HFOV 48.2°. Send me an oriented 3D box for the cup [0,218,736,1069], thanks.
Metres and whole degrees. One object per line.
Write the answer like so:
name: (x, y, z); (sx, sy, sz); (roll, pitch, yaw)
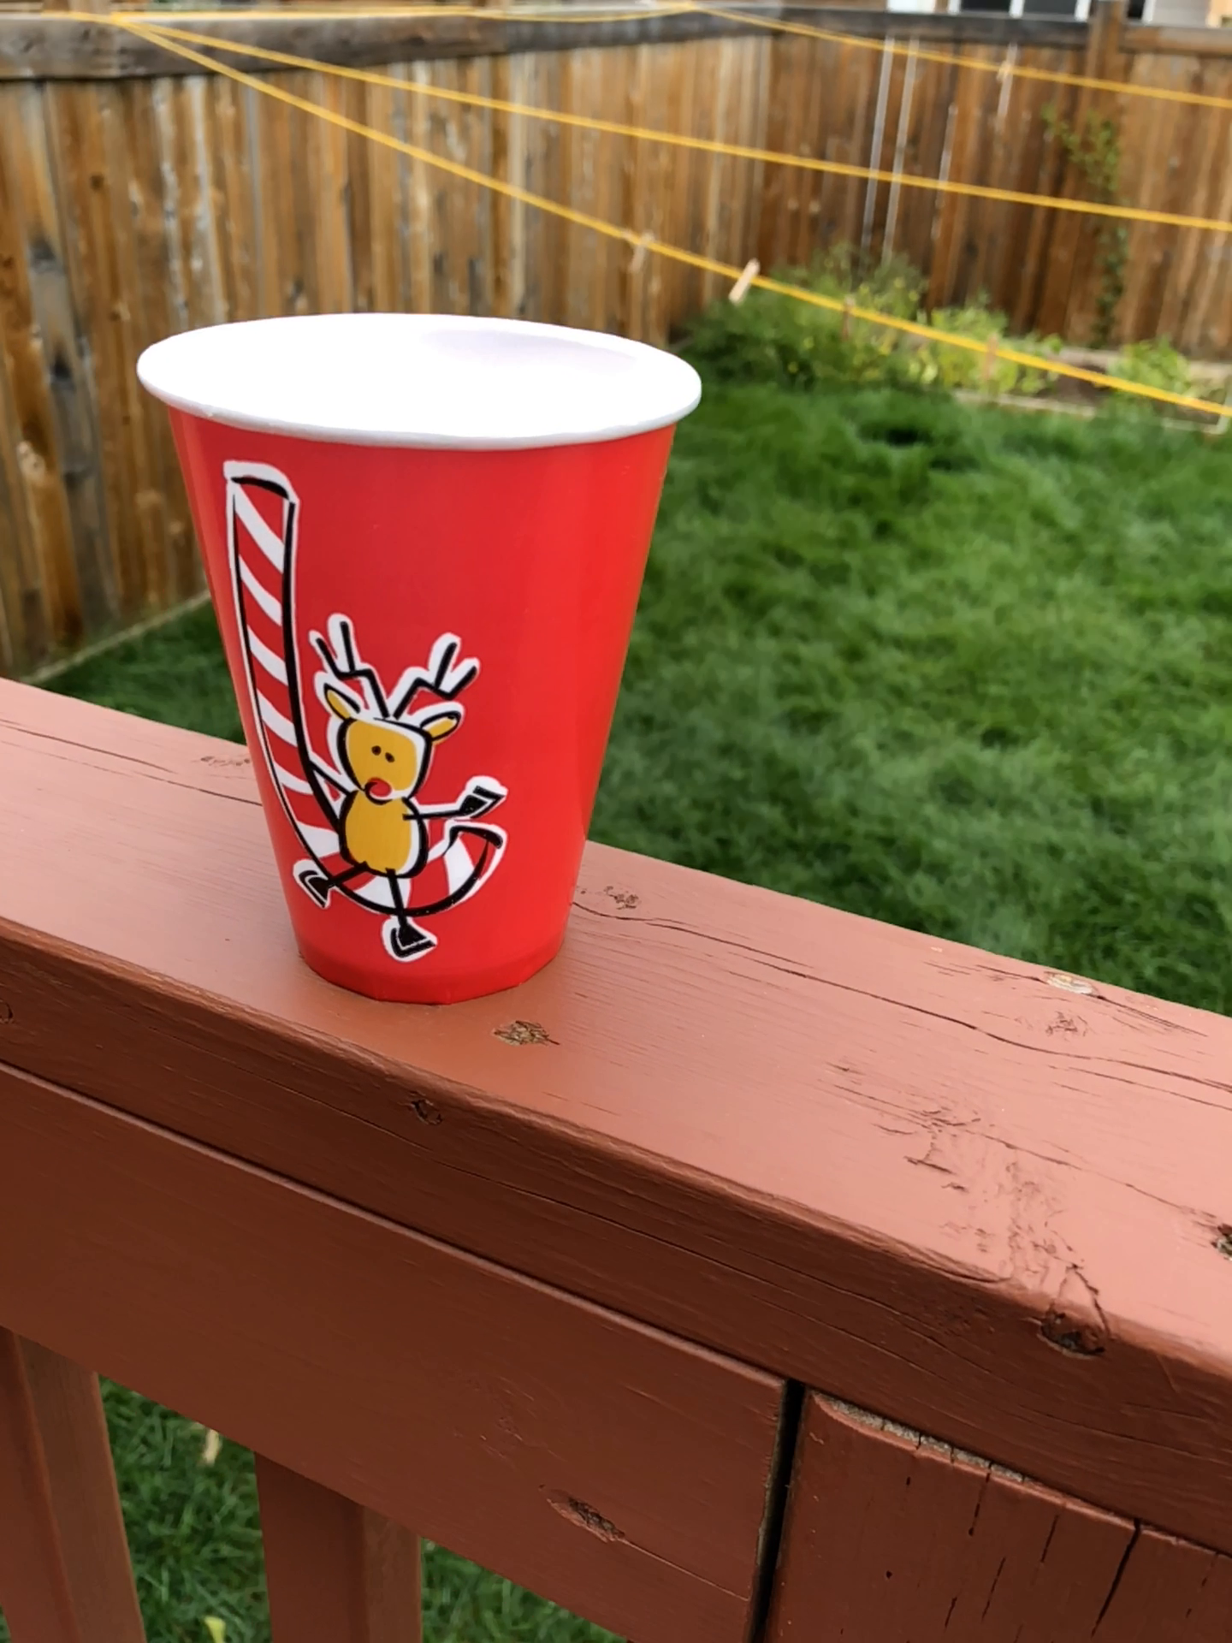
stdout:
cup: (-0.029, -0.032, 0.212); (0.080, 0.100, 0.080); (2, 30, -1)
